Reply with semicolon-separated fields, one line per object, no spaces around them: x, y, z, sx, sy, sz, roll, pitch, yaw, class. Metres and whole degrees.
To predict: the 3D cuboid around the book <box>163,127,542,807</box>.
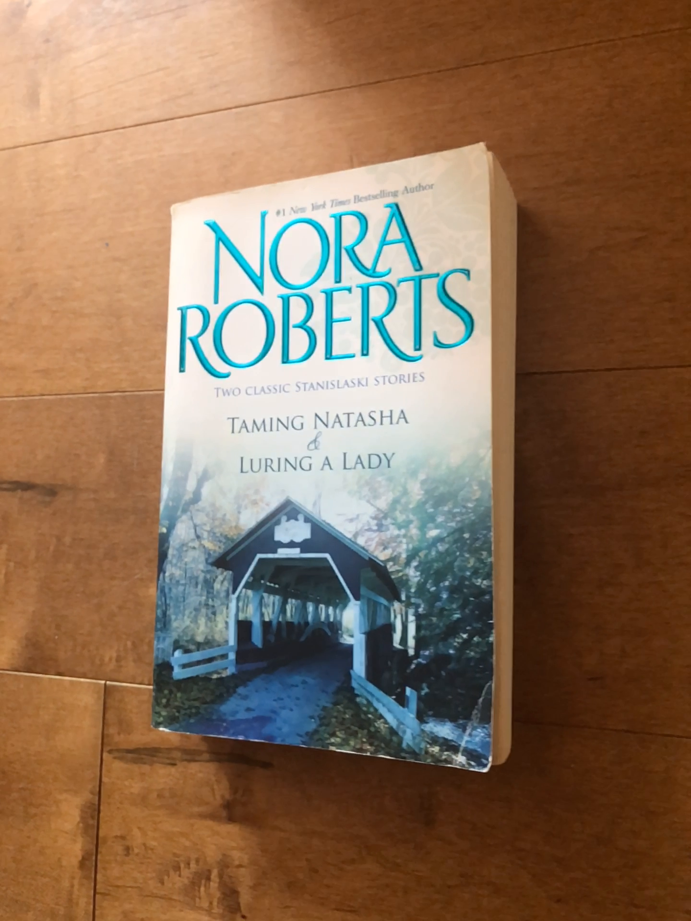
0.003;0.000;0.288;0.130;0.040;0.220;-2;83;20;book
